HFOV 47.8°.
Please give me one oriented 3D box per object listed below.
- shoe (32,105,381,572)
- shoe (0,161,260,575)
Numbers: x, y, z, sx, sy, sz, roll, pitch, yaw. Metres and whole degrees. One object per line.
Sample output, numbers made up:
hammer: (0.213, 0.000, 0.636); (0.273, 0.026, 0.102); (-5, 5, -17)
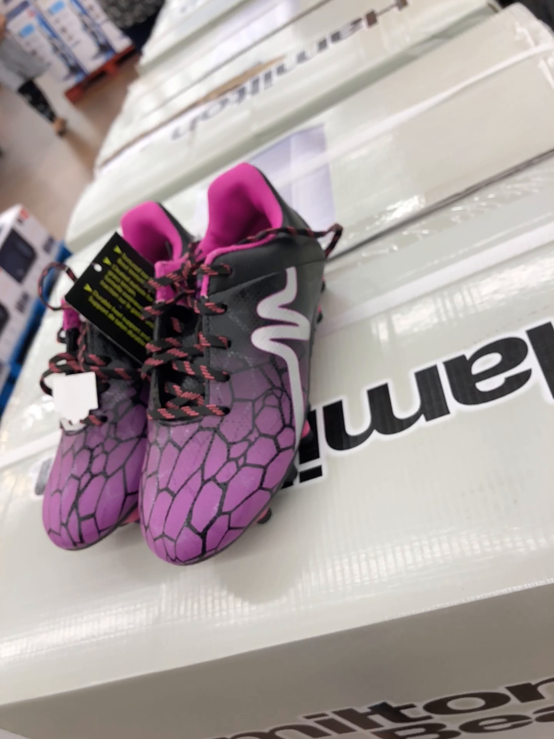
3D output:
shoe: (-0.017, -0.021, 0.303); (0.080, 0.080, 0.210); (-11, 47, 33)
shoe: (-0.090, -0.007, 0.346); (0.080, 0.080, 0.210); (-10, 48, 34)
